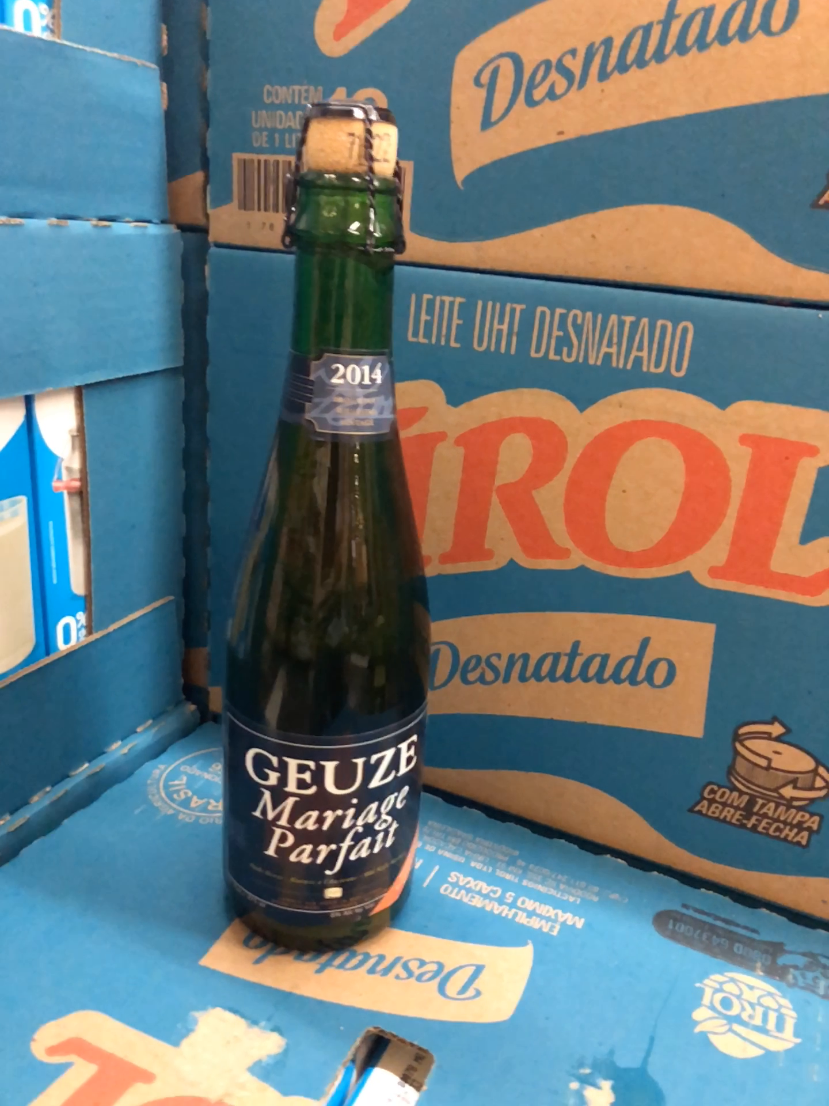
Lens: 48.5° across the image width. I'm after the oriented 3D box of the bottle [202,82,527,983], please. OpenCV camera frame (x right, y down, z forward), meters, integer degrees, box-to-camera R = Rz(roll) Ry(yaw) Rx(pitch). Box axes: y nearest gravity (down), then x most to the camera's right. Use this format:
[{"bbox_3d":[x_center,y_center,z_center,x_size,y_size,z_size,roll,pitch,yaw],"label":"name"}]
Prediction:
[{"bbox_3d":[-0.026,0.004,0.287,0.070,0.258,0.060,0,20,-17],"label":"bottle"}]
